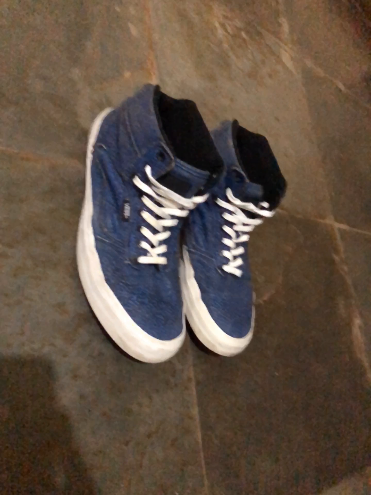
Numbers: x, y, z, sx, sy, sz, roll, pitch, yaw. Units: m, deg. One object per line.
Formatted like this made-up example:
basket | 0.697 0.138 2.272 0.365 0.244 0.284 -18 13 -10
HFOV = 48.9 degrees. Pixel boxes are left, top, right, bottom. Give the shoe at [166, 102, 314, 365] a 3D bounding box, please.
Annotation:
shoe | 0.059 -0.010 0.489 0.121 0.089 0.281 12 66 -39

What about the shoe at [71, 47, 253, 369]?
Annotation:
shoe | -0.033 -0.030 0.416 0.121 0.109 0.280 9 68 -41
